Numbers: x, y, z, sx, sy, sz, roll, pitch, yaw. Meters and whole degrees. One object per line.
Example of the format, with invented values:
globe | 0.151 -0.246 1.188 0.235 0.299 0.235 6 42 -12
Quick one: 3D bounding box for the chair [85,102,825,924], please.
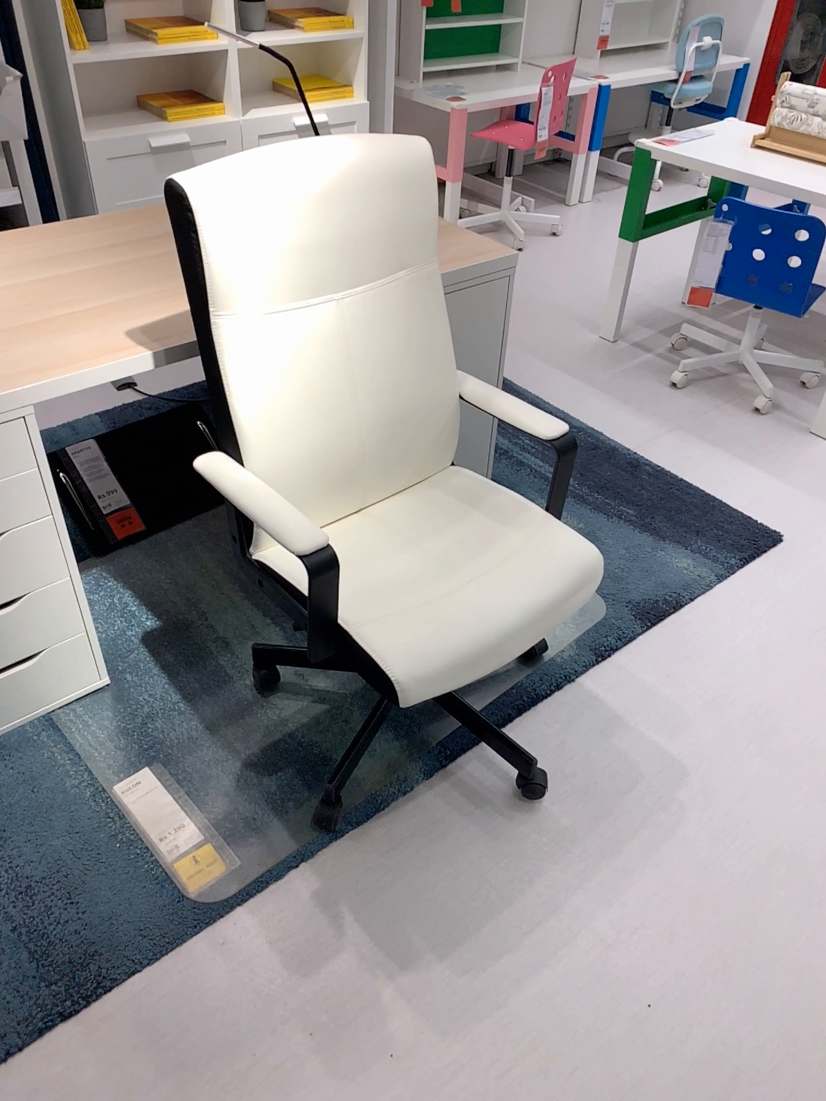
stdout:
chair | 0.037 -0.100 1.380 0.691 0.956 0.702 -26 48 -31
